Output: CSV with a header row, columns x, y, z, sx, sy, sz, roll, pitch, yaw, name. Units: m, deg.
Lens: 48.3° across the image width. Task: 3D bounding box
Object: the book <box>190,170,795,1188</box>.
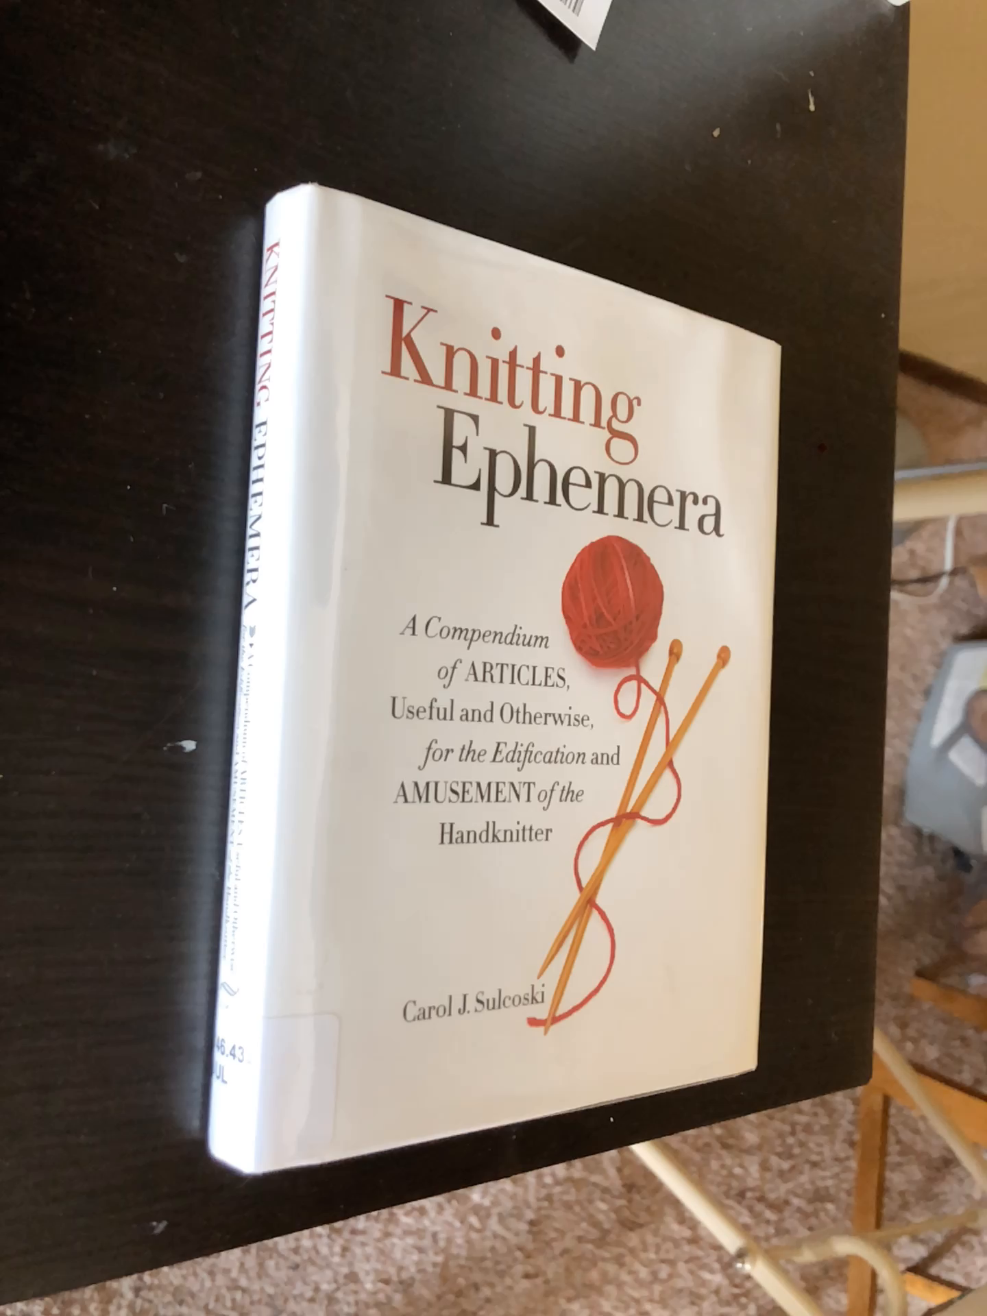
x,y,z,sx,sy,sz,roll,pitch,yaw,name
0.008,0.006,0.242,0.133,0.029,0.178,4,88,-35,book
